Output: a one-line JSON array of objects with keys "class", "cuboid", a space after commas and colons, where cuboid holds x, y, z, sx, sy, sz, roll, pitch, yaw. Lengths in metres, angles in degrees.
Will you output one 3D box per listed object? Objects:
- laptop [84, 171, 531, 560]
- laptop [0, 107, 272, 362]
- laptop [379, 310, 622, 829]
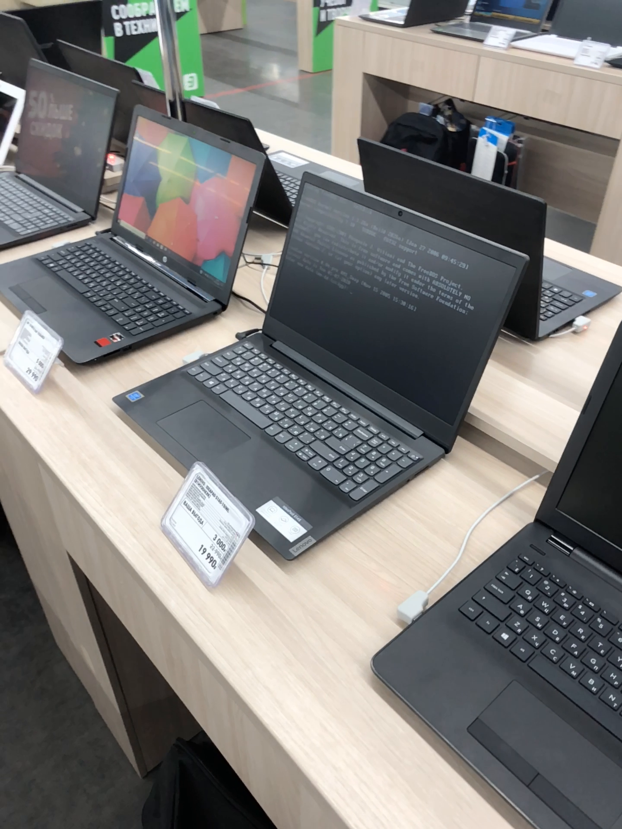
[{"class": "laptop", "cuboid": [-0.012, -0.090, 0.769, 0.322, 0.210, 0.341, -28, 45, -30]}, {"class": "laptop", "cuboid": [-0.300, -0.296, 1.035, 0.321, 0.202, 0.352, -28, 46, -30]}, {"class": "laptop", "cuboid": [0.268, 0.141, 0.459, 0.297, 0.208, 0.338, -29, 46, -31]}]
